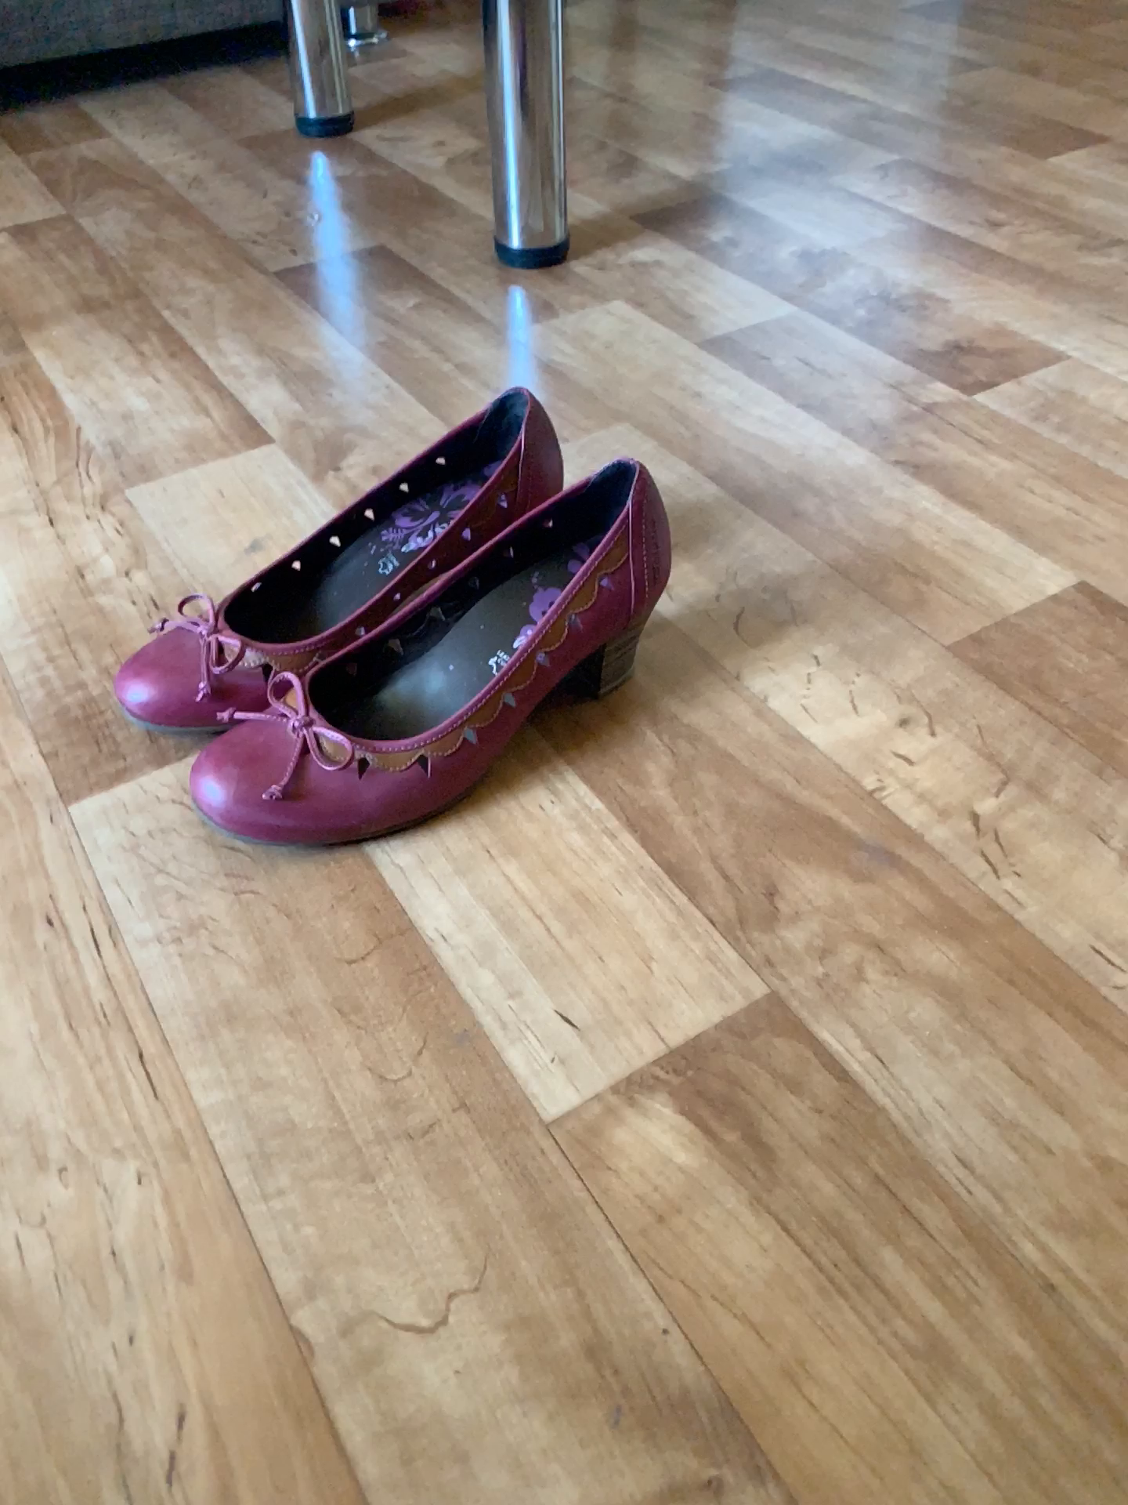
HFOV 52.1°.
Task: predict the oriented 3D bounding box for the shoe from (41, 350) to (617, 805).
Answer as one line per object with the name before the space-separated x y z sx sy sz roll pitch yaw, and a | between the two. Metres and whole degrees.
shoe | -0.098 -0.091 0.552 0.240 0.110 0.090 -27 49 -23

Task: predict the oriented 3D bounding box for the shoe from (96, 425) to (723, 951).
shoe | -0.054 -0.037 0.501 0.240 0.110 0.090 -29 49 -25
